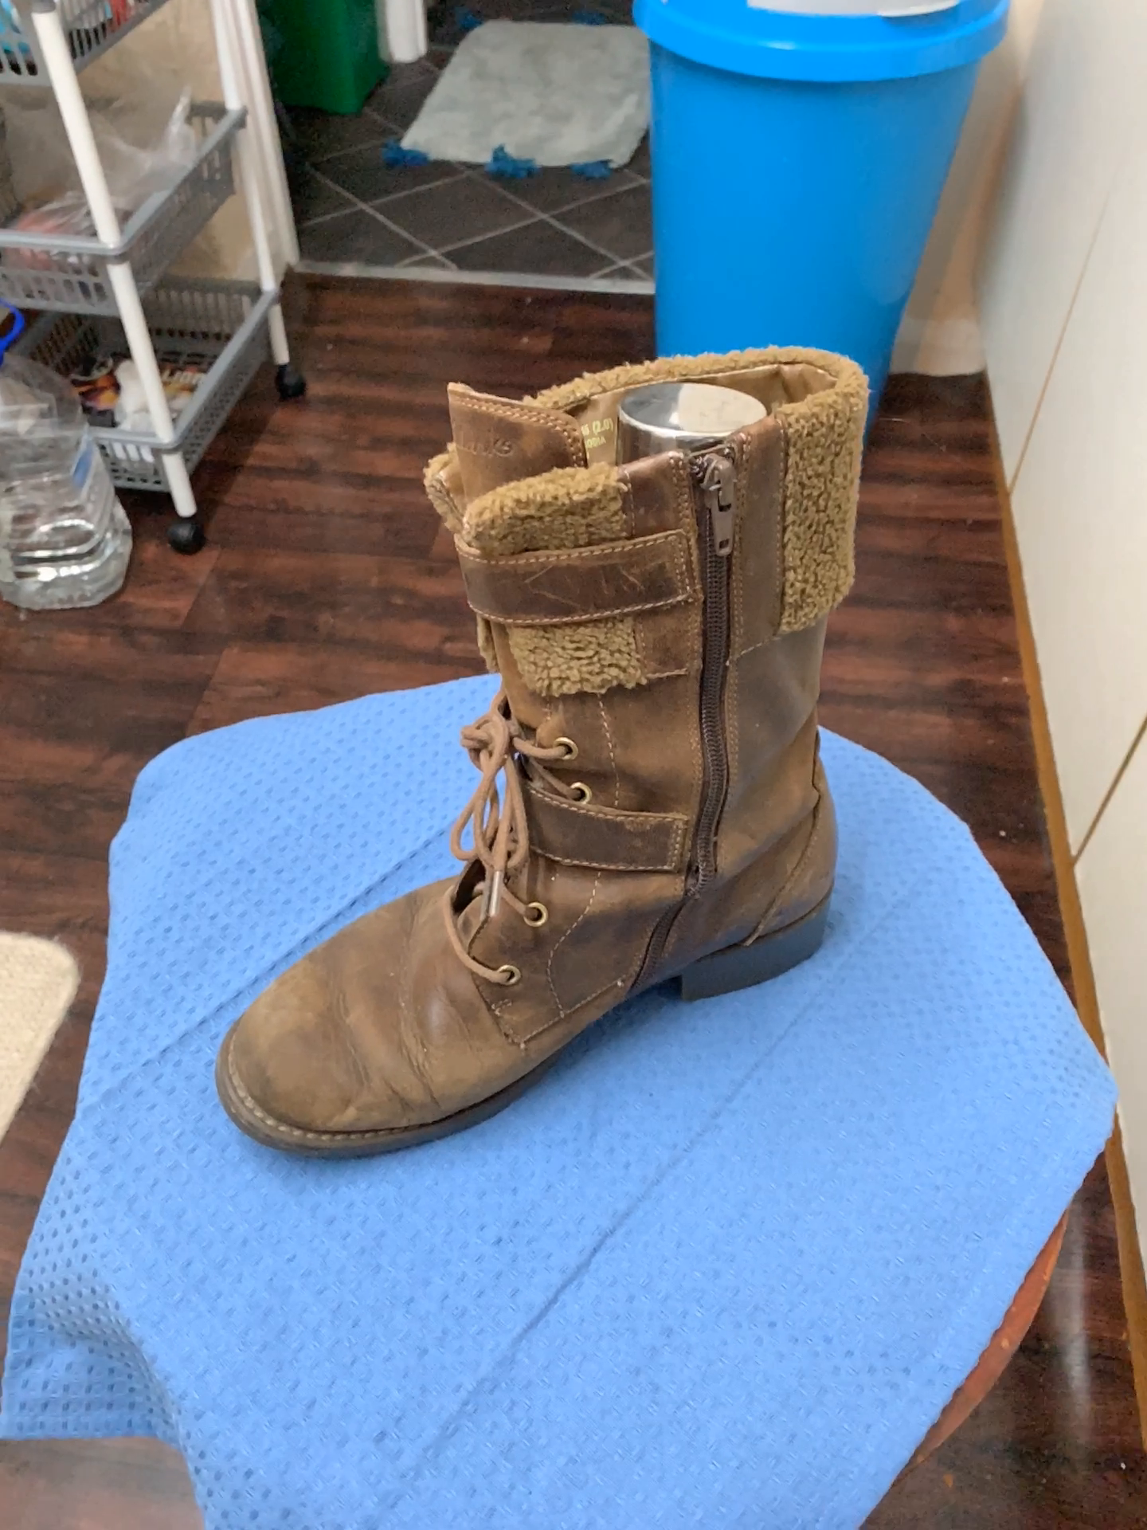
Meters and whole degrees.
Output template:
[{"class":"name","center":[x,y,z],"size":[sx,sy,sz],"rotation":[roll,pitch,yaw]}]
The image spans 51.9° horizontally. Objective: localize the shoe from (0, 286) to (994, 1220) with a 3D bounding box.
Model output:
[{"class":"shoe","center":[-0.025,-0.002,0.390],"size":[0.250,0.228,0.121],"rotation":[-15,42,-12]}]
